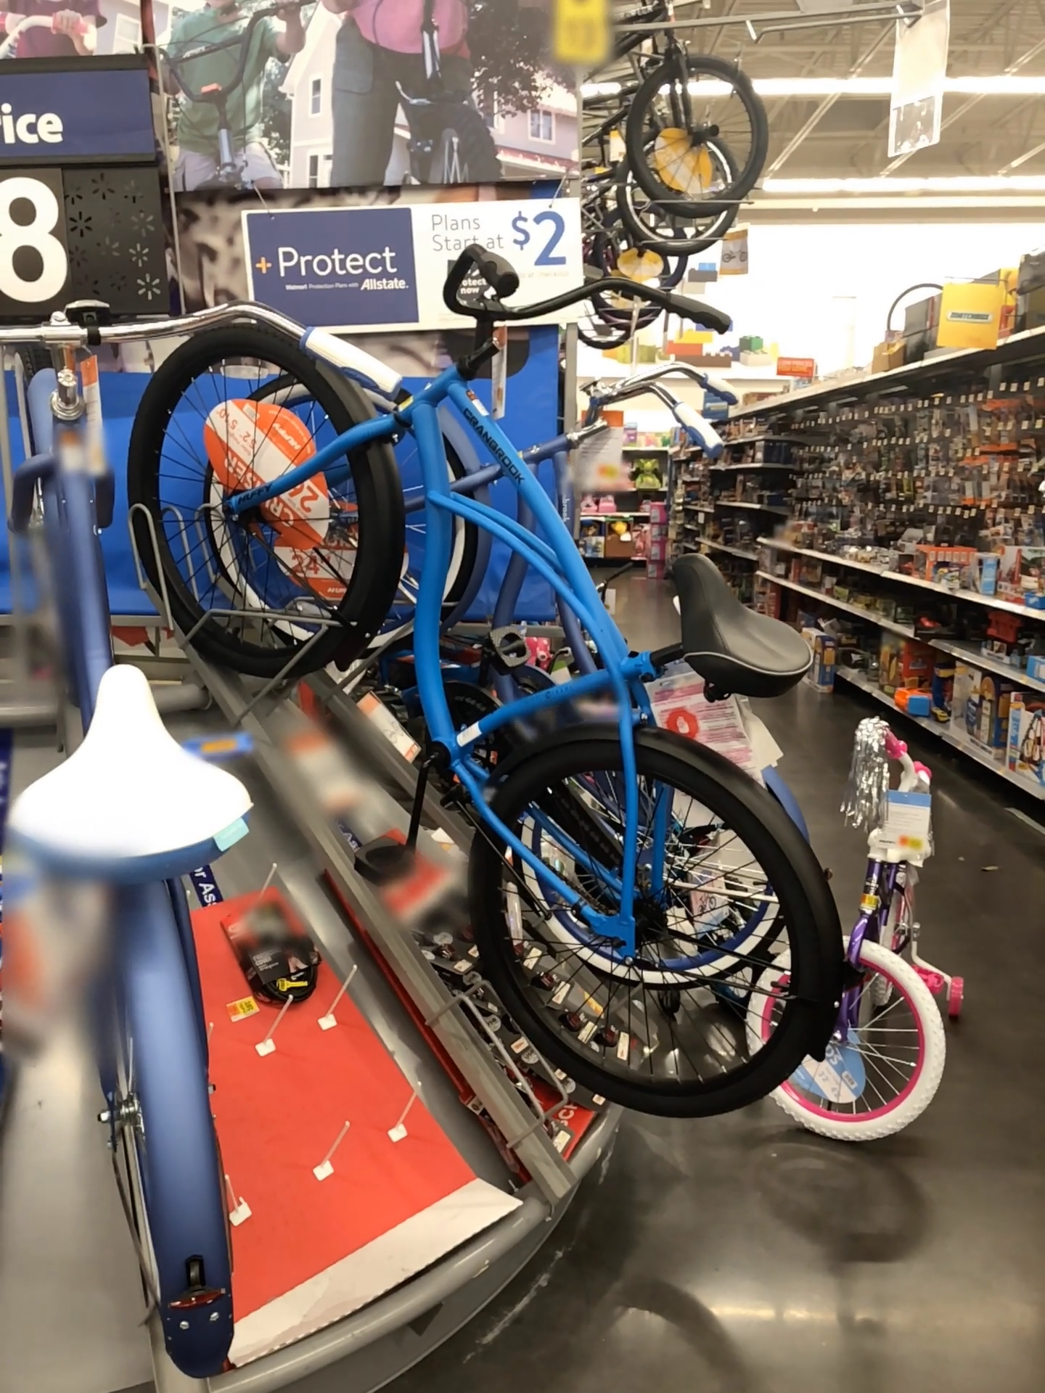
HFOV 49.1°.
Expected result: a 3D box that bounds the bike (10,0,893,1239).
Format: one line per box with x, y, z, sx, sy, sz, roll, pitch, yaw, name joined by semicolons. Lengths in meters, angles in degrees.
-0.103;-0.509;1.820;1.559;1.123;0.506;33;22;20;bike
